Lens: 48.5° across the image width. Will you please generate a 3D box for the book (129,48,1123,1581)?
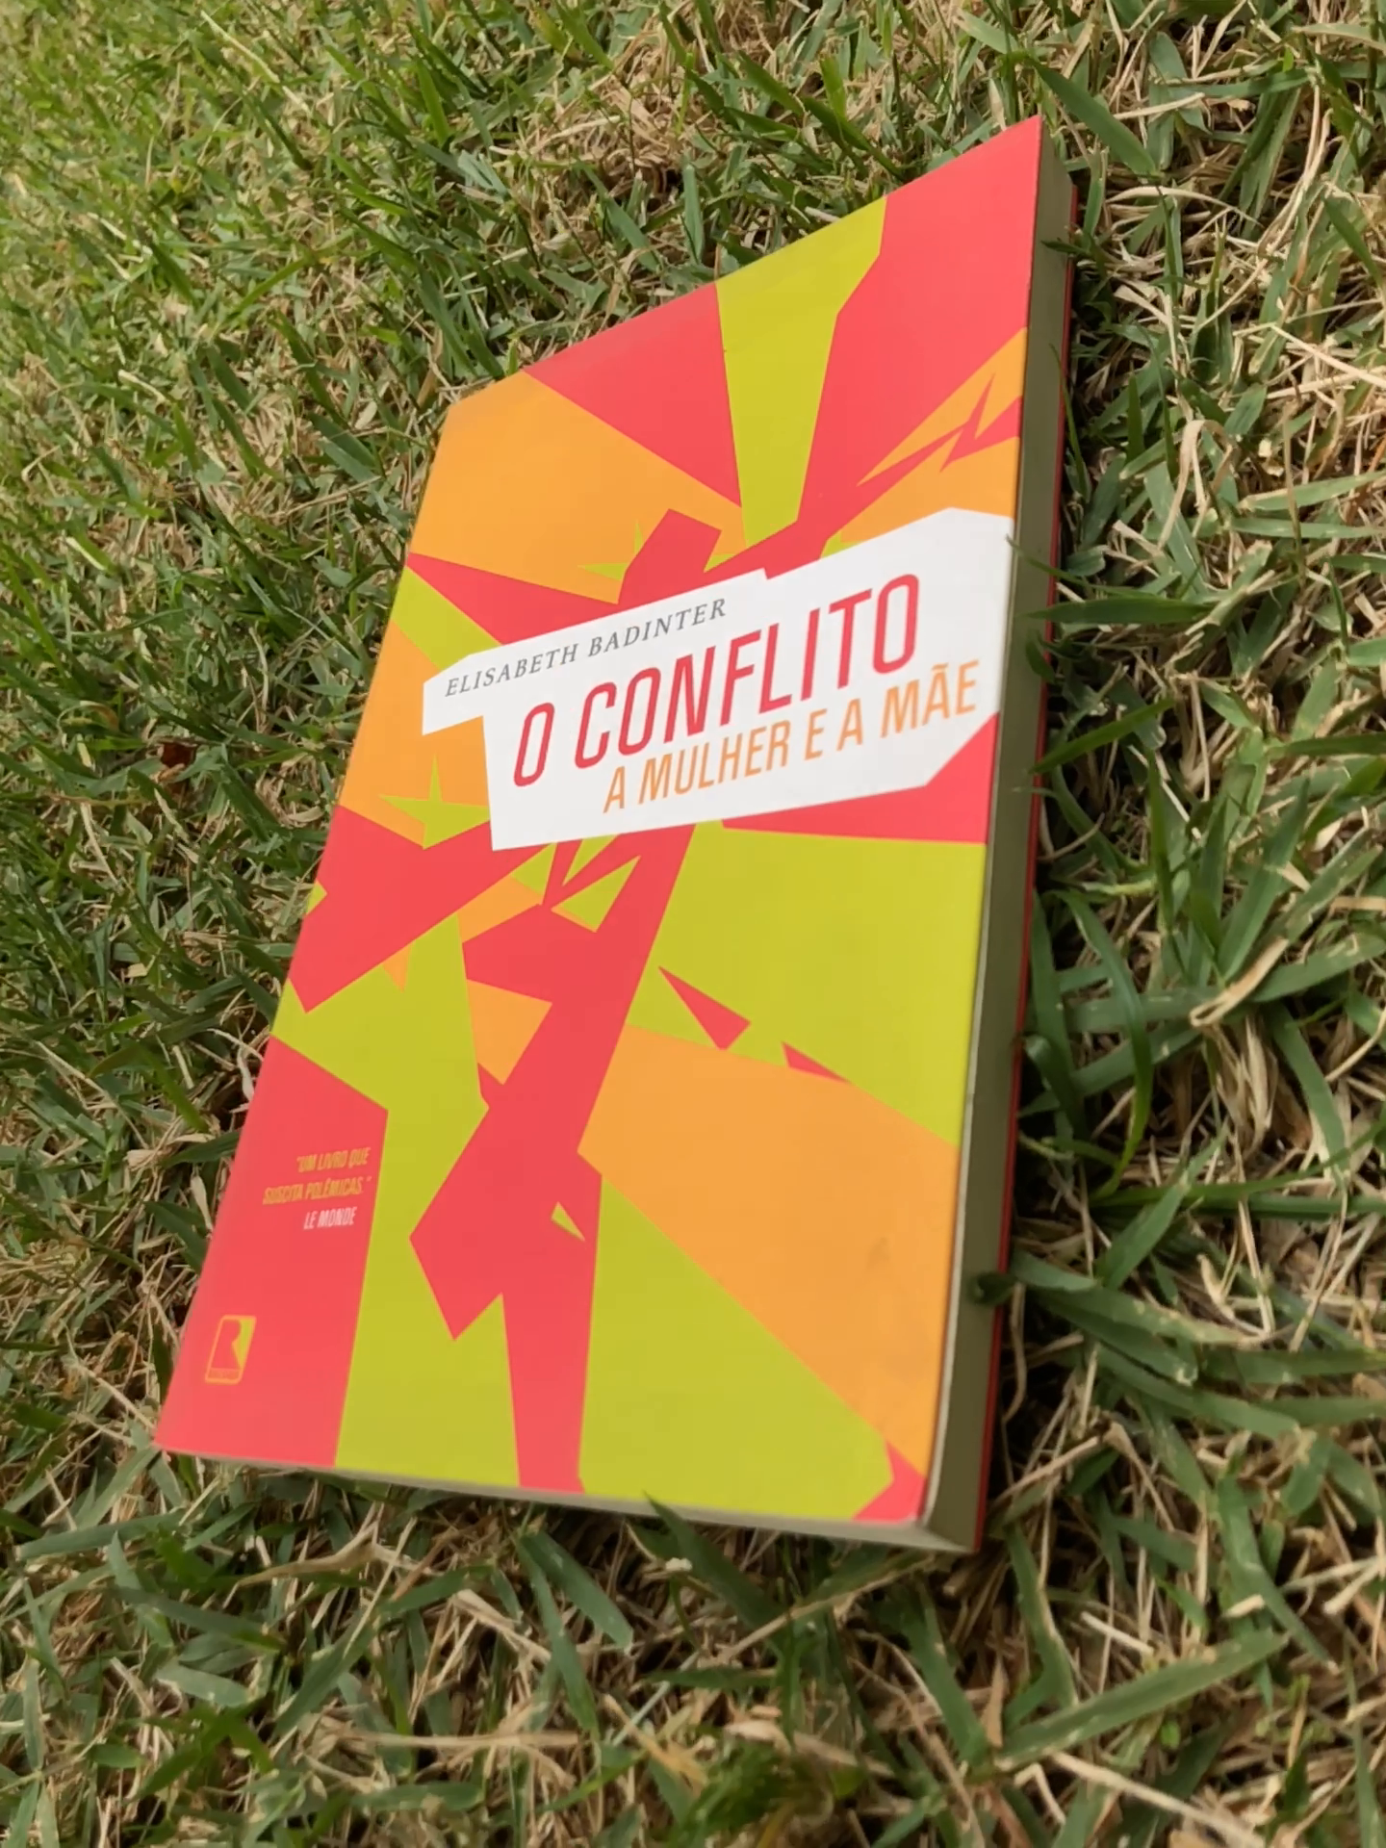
[{"bbox_3d":[-0.007,-0.021,0.225,0.131,0.020,0.200,-10,59,38],"label":"book"}]
